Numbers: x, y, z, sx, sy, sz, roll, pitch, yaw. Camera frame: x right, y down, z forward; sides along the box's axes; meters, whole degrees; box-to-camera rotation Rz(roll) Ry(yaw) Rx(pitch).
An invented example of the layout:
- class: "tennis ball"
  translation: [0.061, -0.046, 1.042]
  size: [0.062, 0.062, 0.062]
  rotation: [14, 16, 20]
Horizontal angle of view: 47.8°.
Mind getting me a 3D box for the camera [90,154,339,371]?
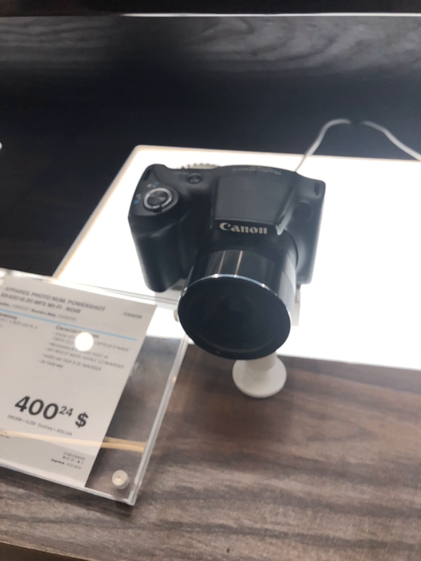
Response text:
- class: "camera"
  translation: [0.007, -0.012, 0.248]
  size: [0.102, 0.074, 0.081]
  rotation: [3, 41, 7]
